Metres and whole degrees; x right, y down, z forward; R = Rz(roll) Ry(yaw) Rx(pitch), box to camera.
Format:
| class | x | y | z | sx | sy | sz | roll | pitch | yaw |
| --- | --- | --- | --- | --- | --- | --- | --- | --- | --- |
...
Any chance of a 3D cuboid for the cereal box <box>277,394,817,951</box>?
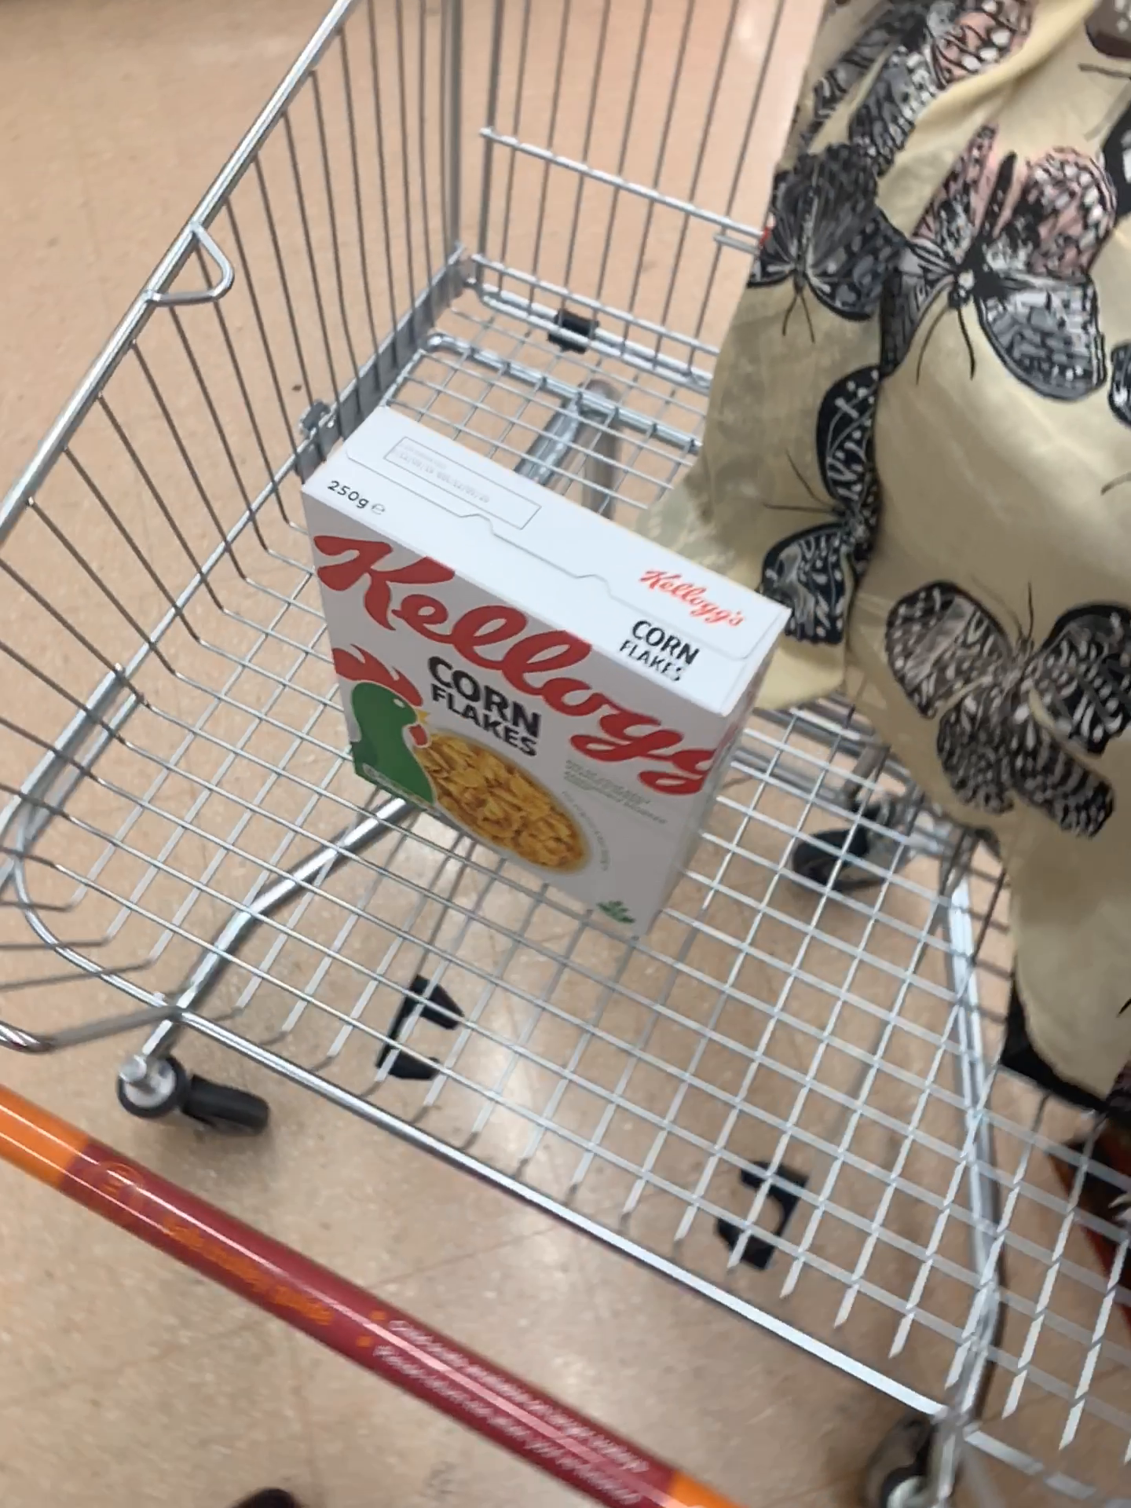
| class | x | y | z | sx | sy | sz | roll | pitch | yaw |
| --- | --- | --- | --- | --- | --- | --- | --- | --- | --- |
| cereal box | -0.017 | -0.020 | 0.542 | 0.200 | 0.239 | 0.060 | 29 | 64 | 10 |
